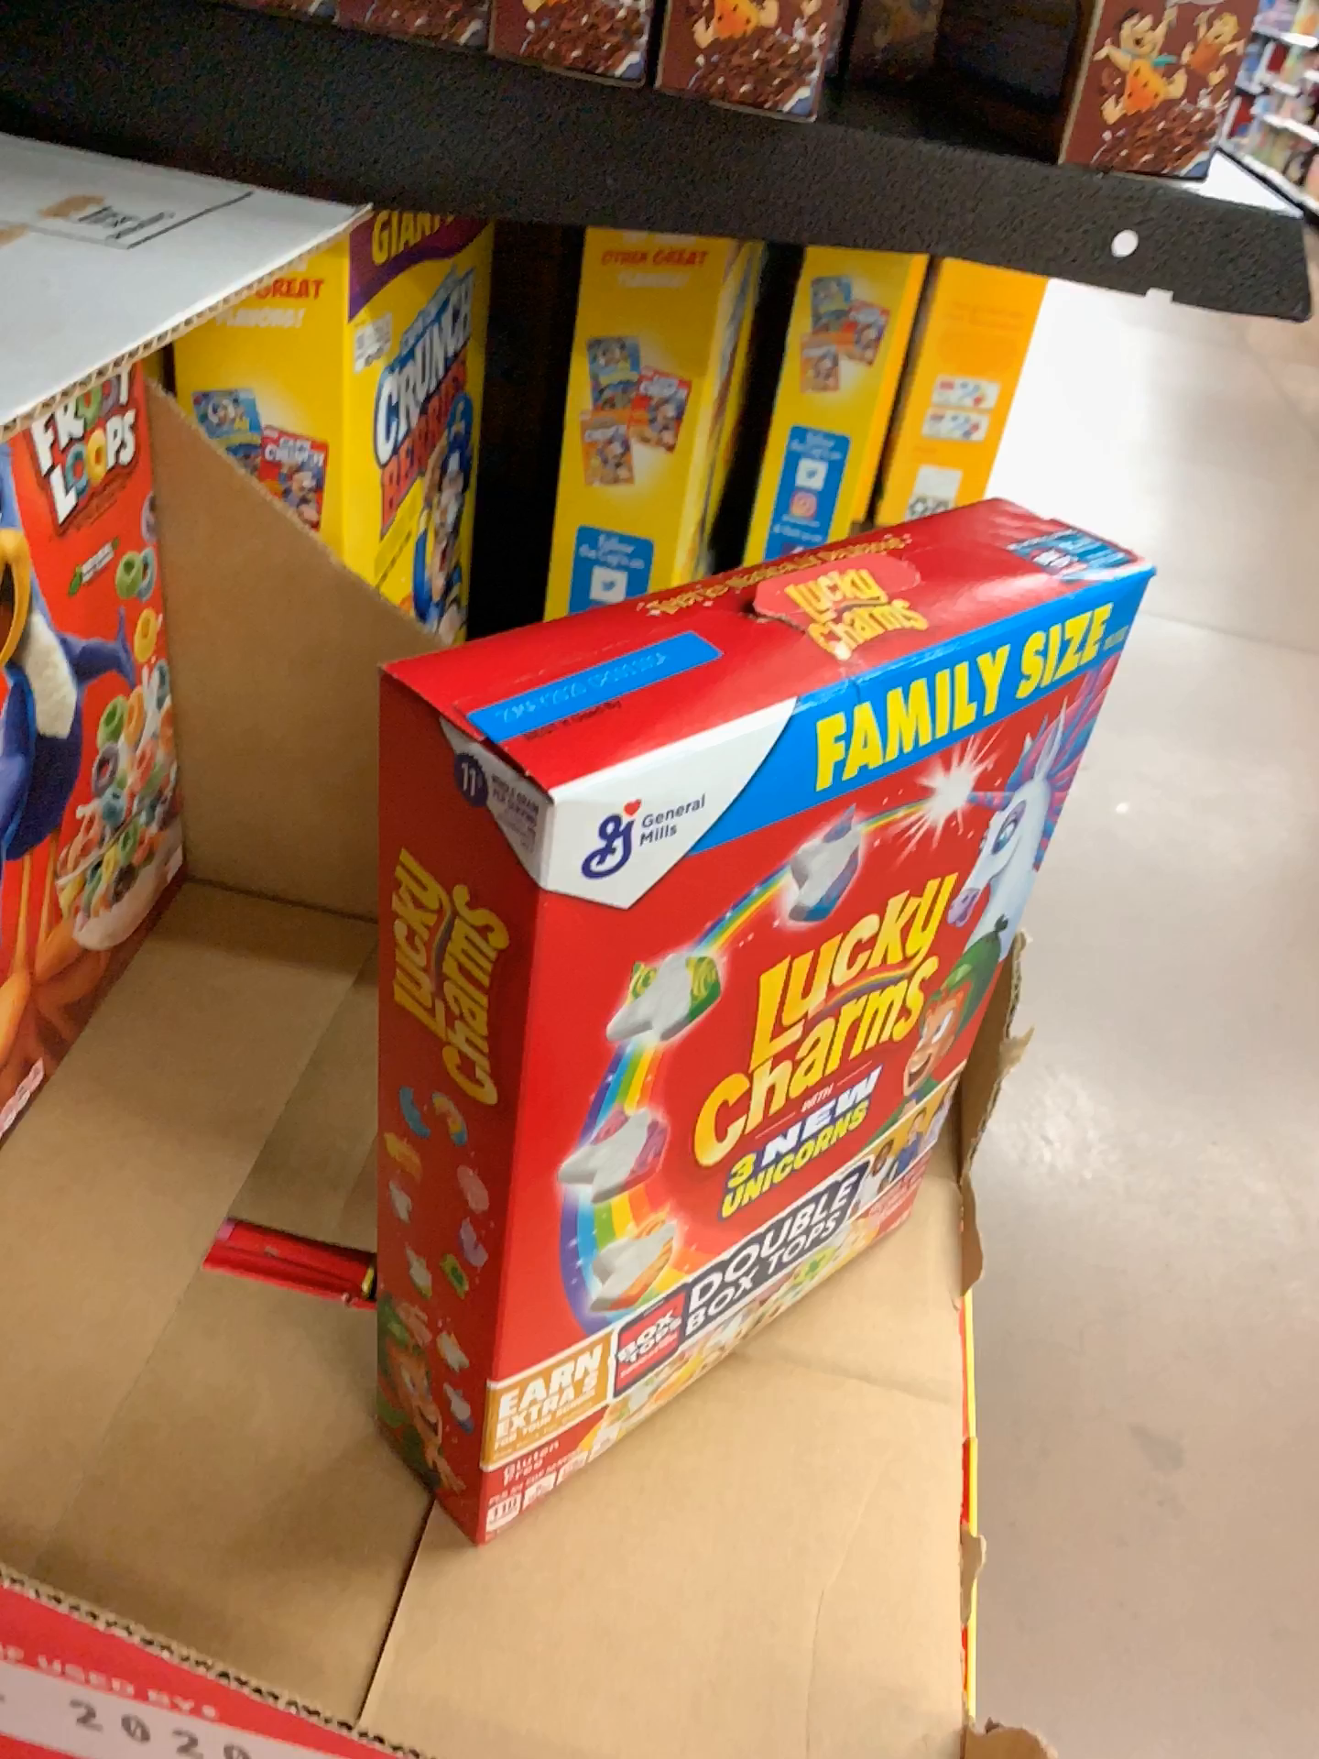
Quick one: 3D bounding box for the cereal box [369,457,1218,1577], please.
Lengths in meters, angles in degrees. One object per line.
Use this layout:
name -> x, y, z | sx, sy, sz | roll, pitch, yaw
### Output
cereal box -> 0.029, 0.042, 0.407 | 0.231, 0.288, 0.060 | -25, 49, -36
